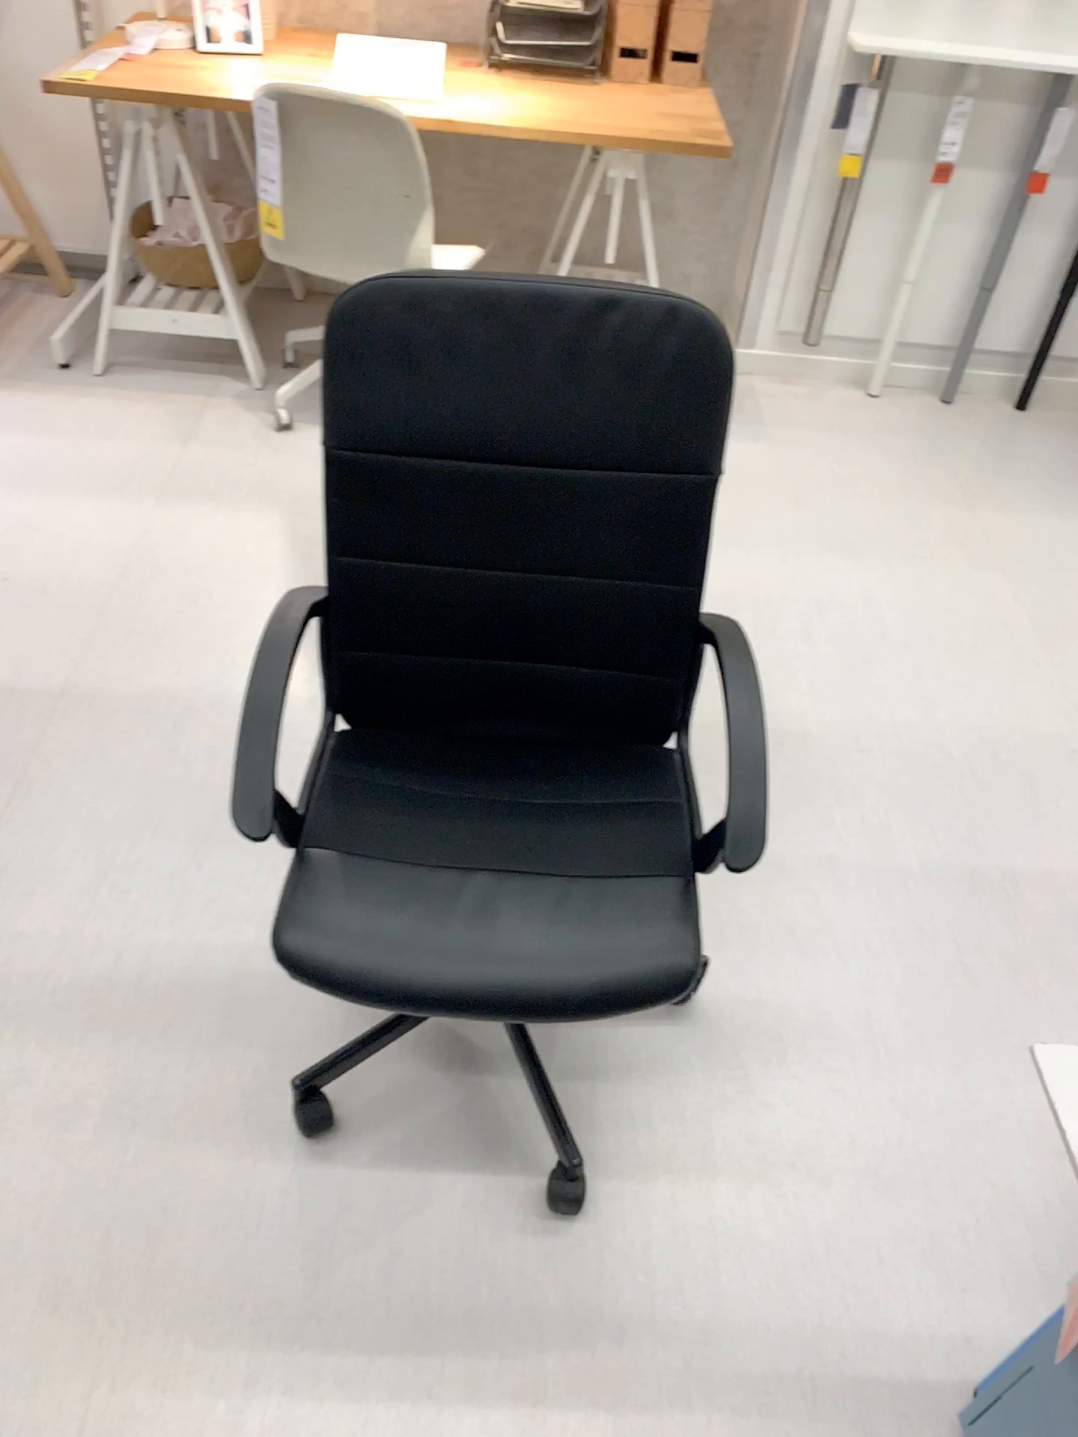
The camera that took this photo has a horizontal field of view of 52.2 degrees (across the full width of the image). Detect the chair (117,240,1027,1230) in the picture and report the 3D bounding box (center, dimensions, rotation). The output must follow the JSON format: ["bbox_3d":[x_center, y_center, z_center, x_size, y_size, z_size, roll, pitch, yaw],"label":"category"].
[{"bbox_3d":[-0.019,0.081,1.280,0.610,0.996,0.582,3,42,-4],"label":"chair"}]
